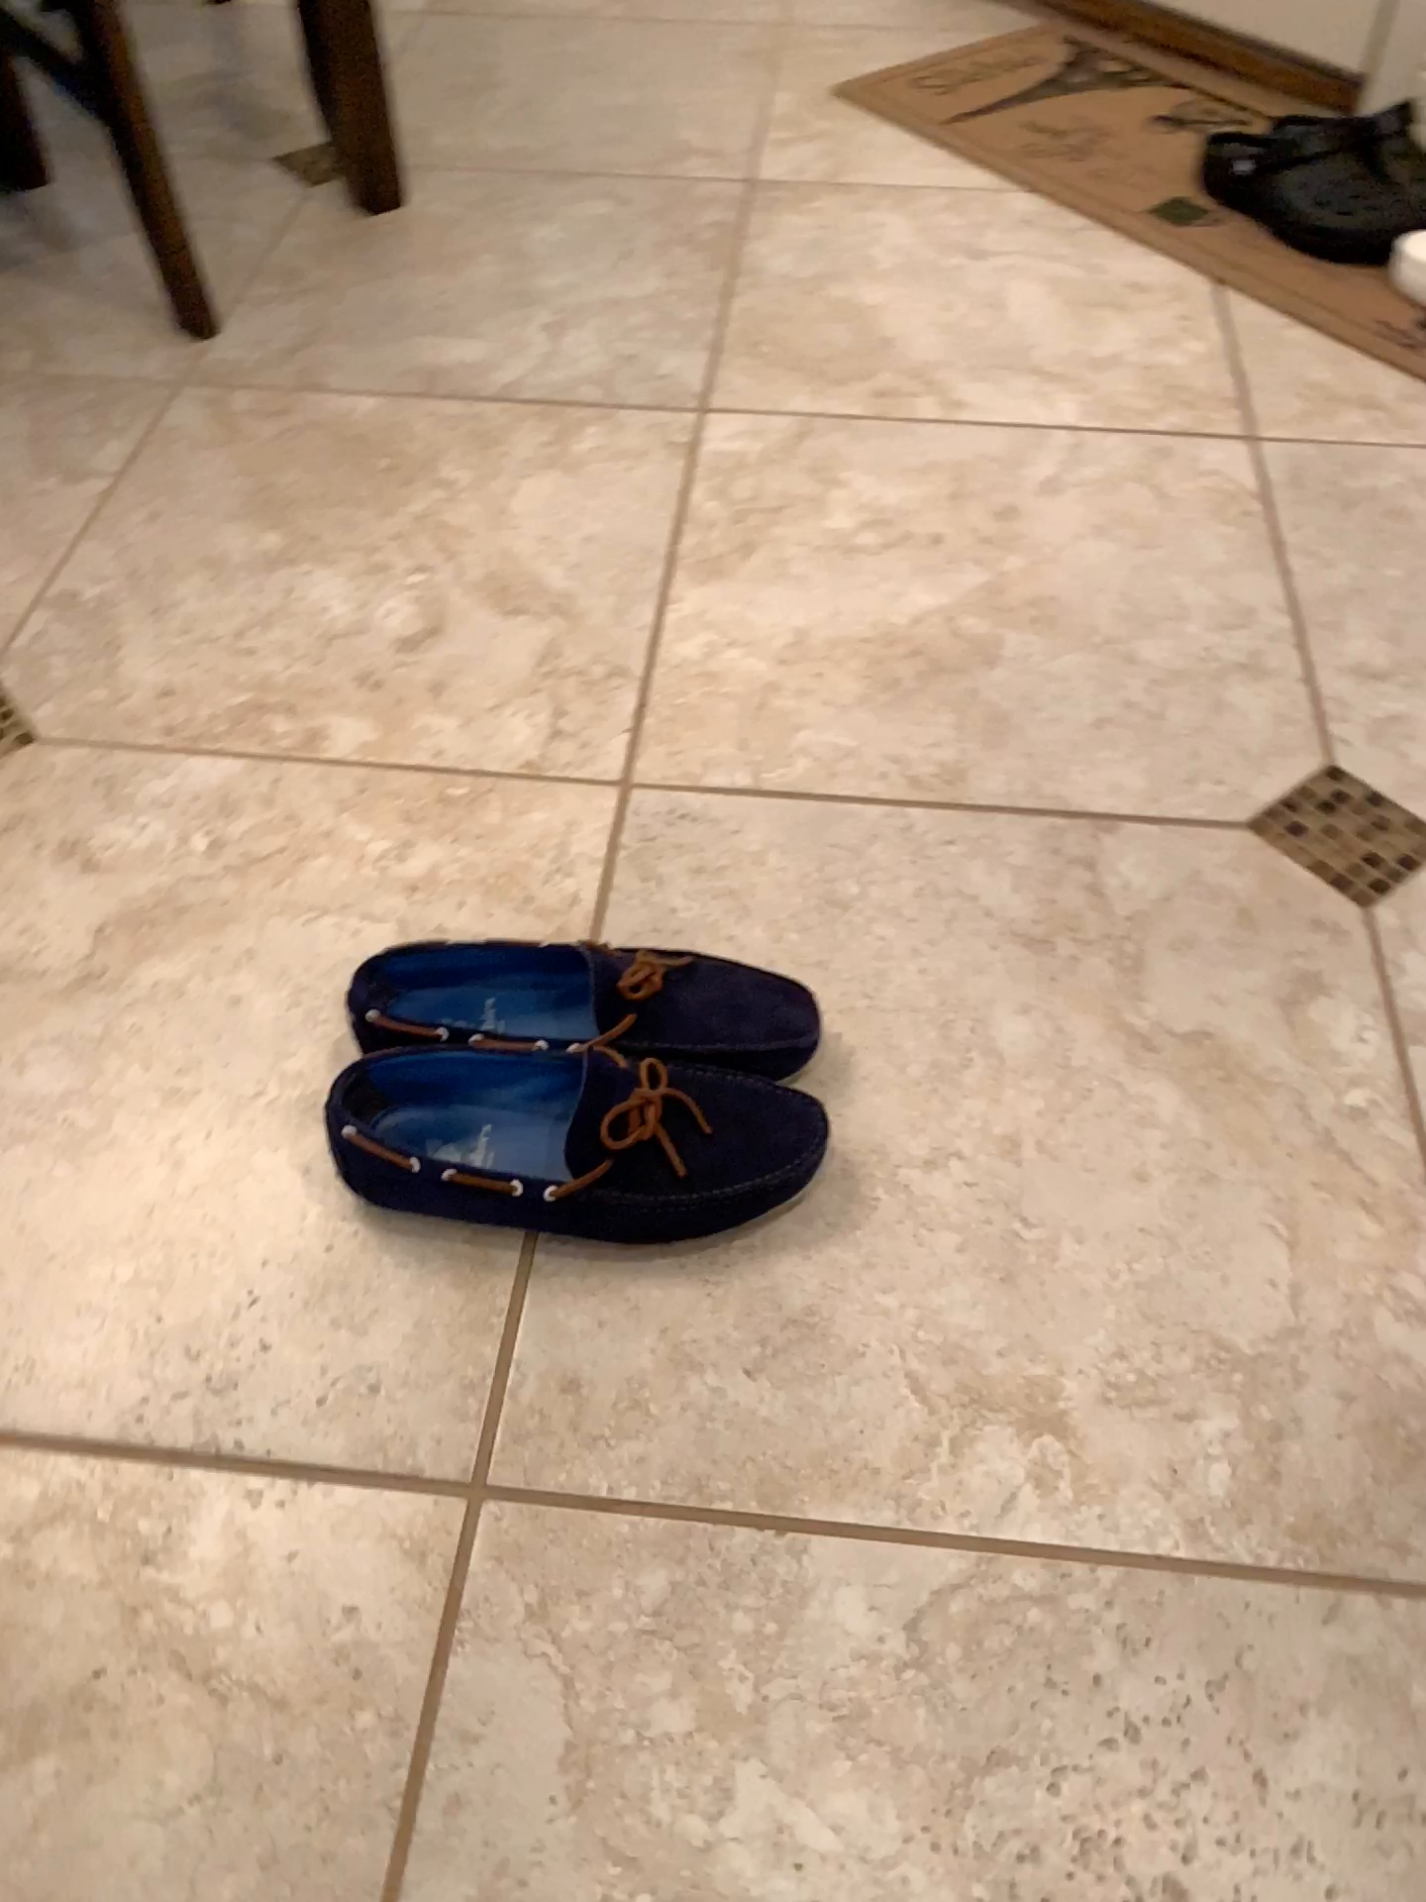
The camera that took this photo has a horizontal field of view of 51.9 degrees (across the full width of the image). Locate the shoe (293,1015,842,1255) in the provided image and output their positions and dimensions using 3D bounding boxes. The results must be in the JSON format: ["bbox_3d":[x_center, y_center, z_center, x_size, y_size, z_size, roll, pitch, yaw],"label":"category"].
[{"bbox_3d":[-0.073,0.101,0.808,0.281,0.074,0.099,2,50,1],"label":"shoe"}]

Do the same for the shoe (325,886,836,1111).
[{"bbox_3d":[-0.075,0.027,0.868,0.281,0.074,0.099,-2,50,-2],"label":"shoe"}]
